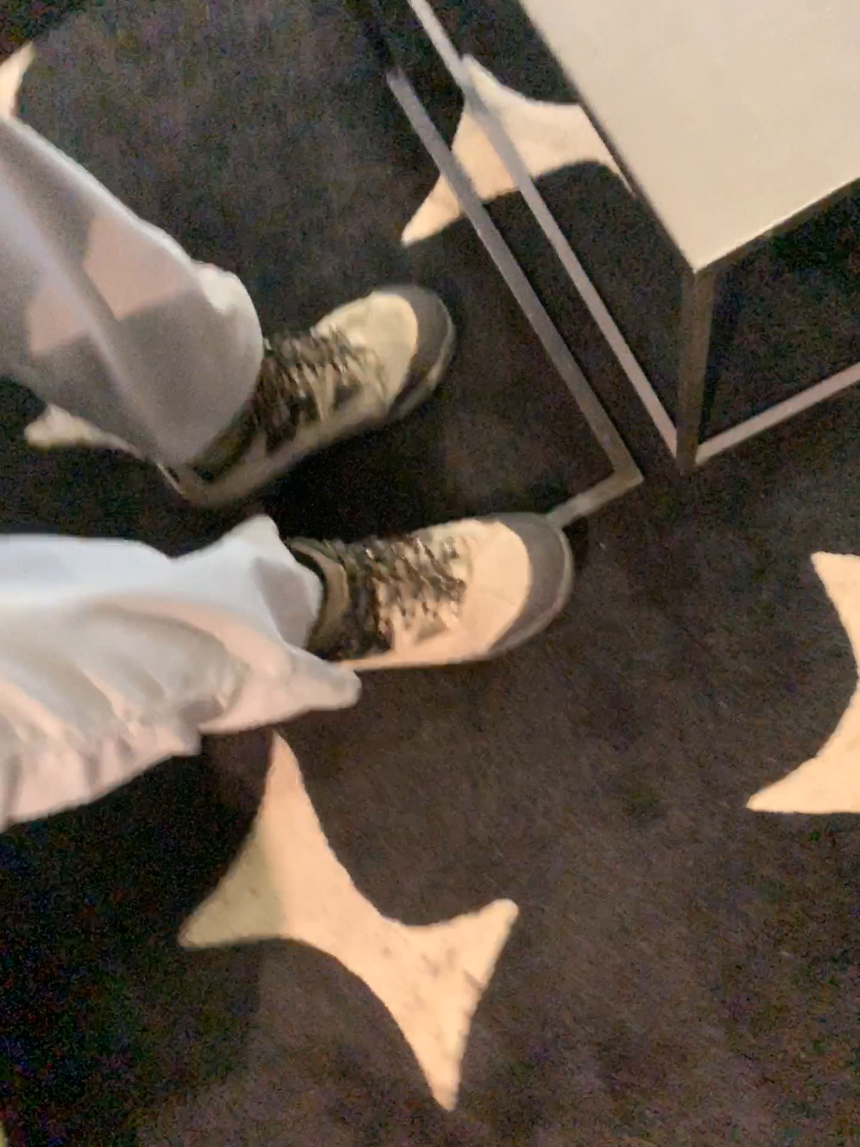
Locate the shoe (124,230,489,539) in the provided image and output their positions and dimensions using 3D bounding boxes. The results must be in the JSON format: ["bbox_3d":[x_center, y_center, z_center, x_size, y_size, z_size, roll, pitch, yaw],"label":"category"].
[{"bbox_3d":[-0.114,-0.165,0.810,0.304,0.080,0.121,-29,74,9],"label":"shoe"}]

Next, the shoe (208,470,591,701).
[{"bbox_3d":[-0.023,0.017,0.721,0.285,0.090,0.123,-11,78,9],"label":"shoe"}]
